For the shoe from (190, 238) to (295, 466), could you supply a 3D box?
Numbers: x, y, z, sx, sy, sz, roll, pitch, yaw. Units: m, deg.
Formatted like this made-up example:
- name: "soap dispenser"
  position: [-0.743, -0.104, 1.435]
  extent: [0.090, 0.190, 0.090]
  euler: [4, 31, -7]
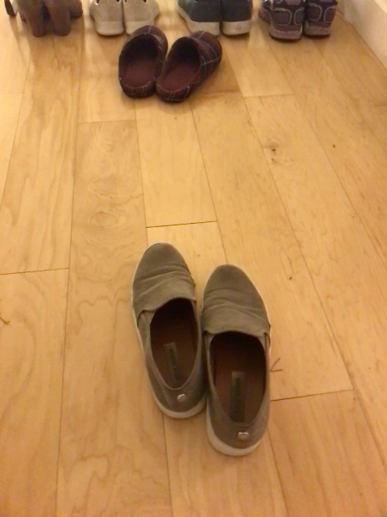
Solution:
- name: "shoe"
  position: [0.054, 0.110, 0.567]
  extent: [0.110, 0.079, 0.292]
  euler: [1, 52, -1]

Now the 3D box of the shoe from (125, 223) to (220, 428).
- name: "shoe"
  position: [-0.037, 0.078, 0.579]
  extent: [0.100, 0.070, 0.272]
  euler: [-5, 52, -6]
